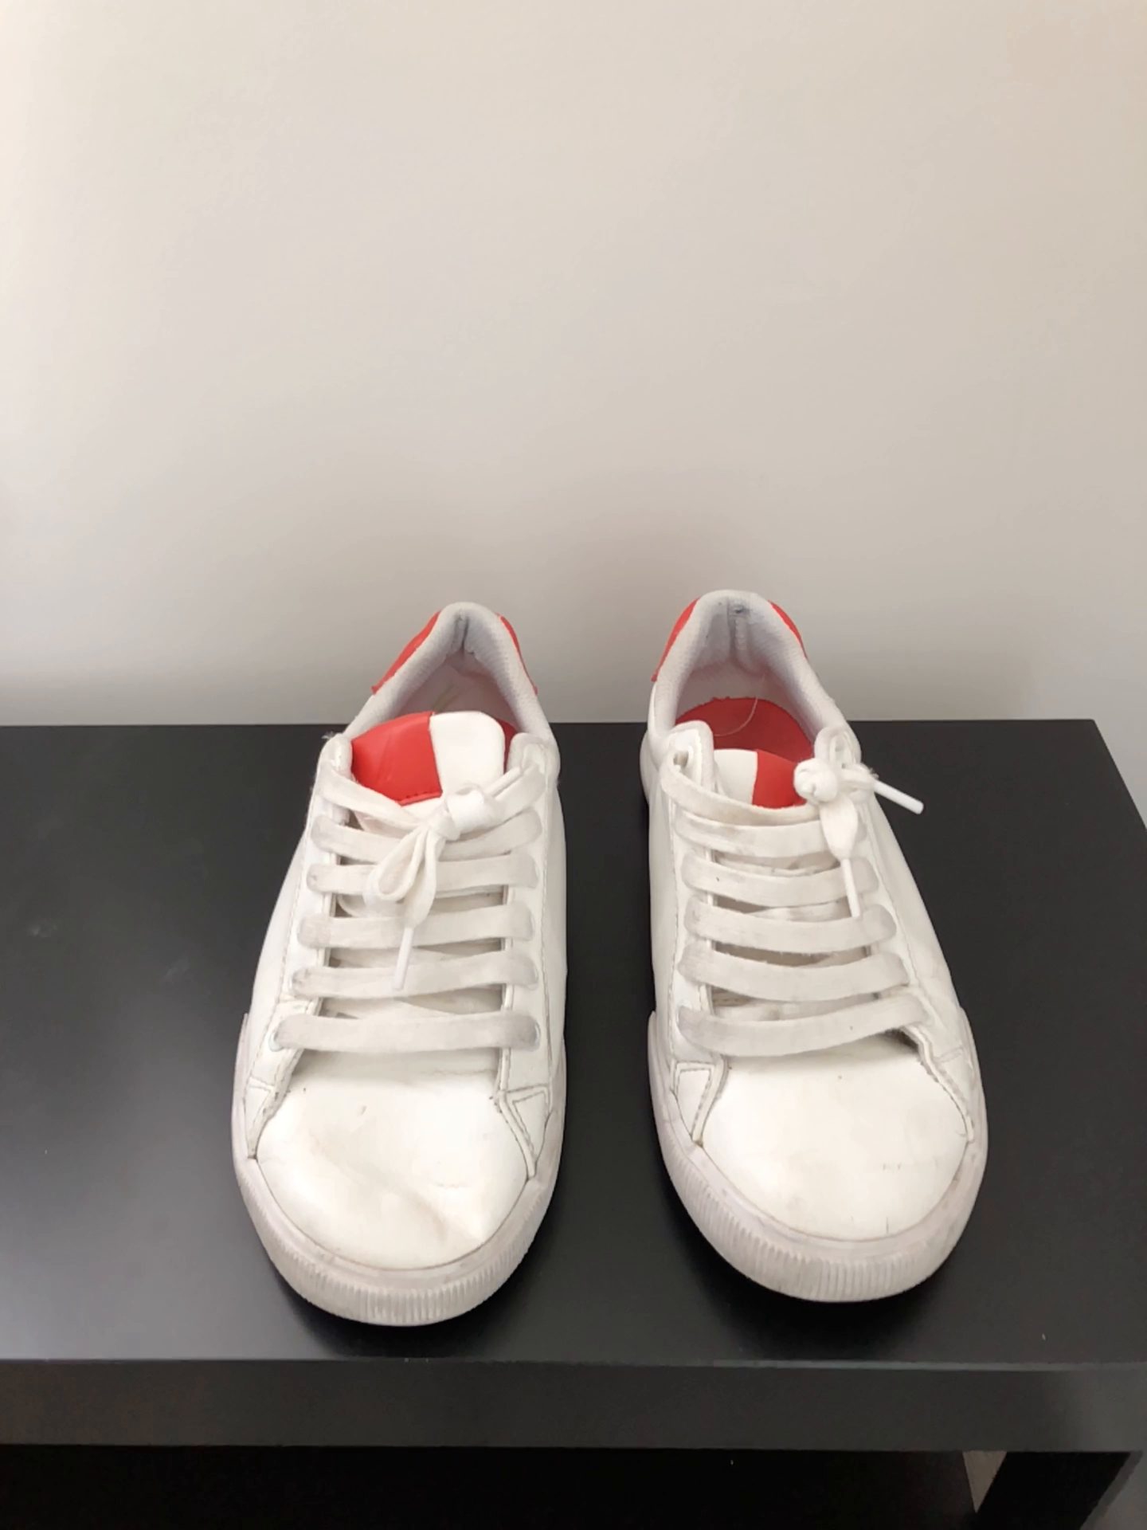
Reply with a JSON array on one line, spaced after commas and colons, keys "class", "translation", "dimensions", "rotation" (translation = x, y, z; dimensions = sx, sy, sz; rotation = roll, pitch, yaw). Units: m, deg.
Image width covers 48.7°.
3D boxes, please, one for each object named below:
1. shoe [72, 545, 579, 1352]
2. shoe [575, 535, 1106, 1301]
[{"class": "shoe", "translation": [-0.056, 0.033, 0.372], "dimensions": [0.102, 0.080, 0.236], "rotation": [-2, 41, -2]}, {"class": "shoe", "translation": [0.057, 0.027, 0.381], "dimensions": [0.100, 0.080, 0.231], "rotation": [-2, 41, -2]}]
